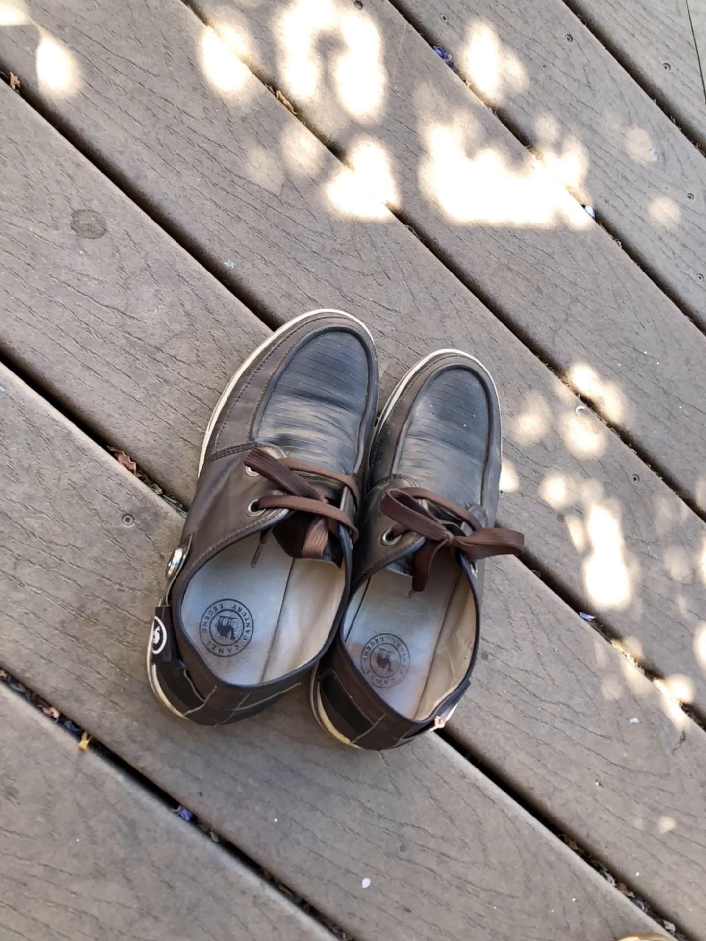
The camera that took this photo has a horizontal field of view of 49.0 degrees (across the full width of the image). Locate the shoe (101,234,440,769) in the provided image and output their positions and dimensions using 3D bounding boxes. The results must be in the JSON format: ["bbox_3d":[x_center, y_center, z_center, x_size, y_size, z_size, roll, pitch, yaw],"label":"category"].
[{"bbox_3d":[-0.052,0.019,0.493,0.107,0.115,0.287,21,74,-17],"label":"shoe"}]

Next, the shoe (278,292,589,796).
[{"bbox_3d":[0.055,0.046,0.522,0.107,0.105,0.289,21,74,-17],"label":"shoe"}]
